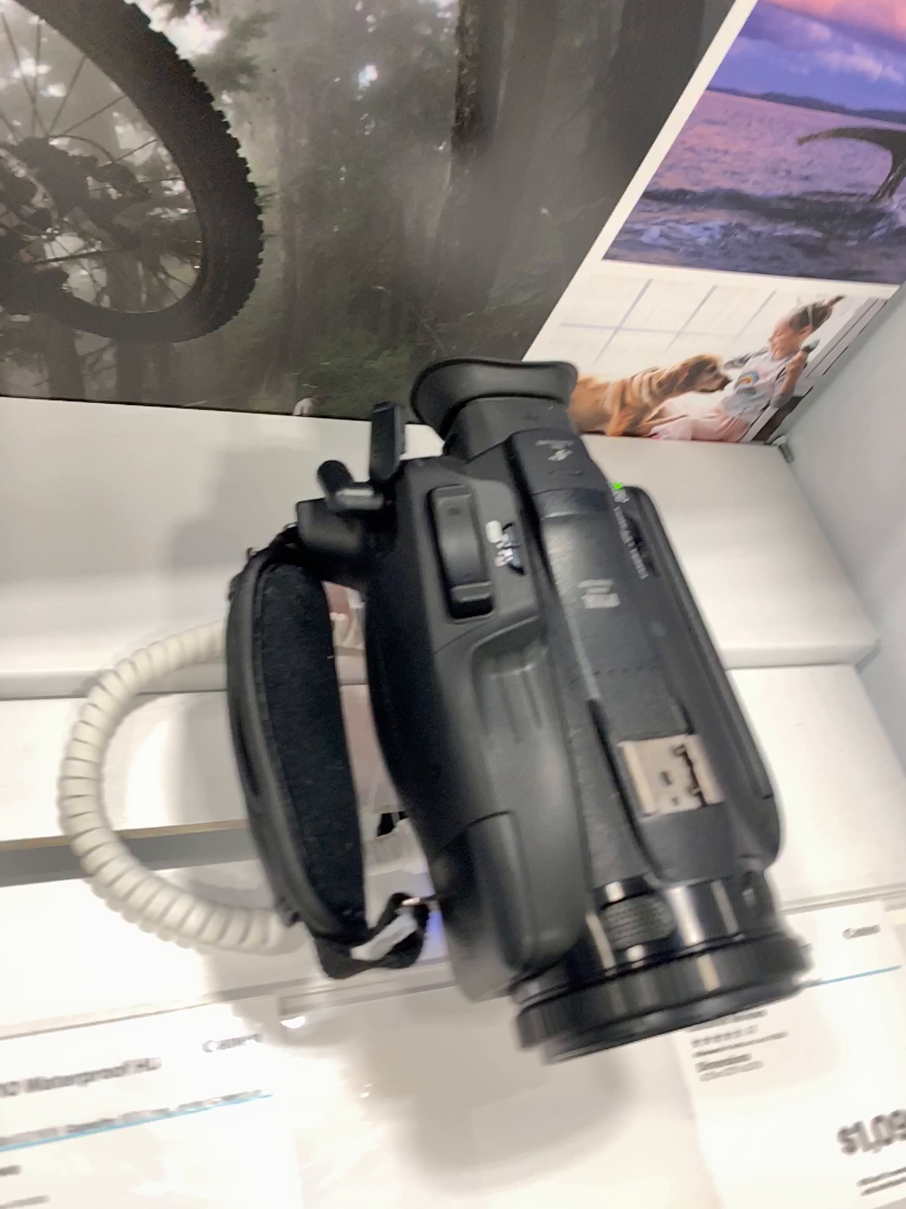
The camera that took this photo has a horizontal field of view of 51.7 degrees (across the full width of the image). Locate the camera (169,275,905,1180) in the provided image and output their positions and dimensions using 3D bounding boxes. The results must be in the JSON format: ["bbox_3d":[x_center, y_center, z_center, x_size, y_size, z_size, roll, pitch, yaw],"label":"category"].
[{"bbox_3d":[0.008,0.016,0.246,0.132,0.069,0.201,-2,58,-25],"label":"camera"}]
